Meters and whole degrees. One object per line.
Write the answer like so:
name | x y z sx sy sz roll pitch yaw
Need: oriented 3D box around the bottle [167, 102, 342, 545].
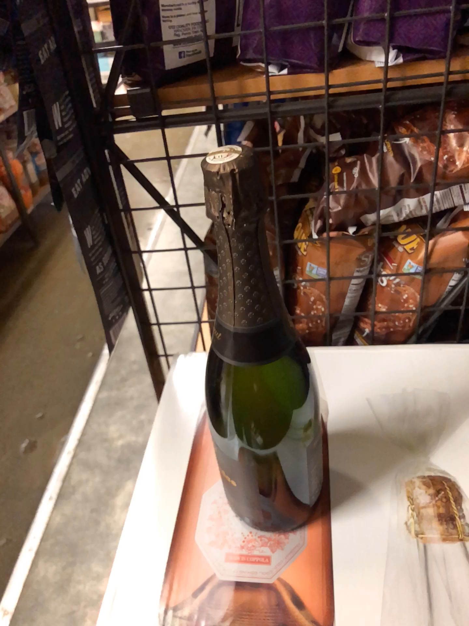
bottle | 0.026 0.033 0.379 0.084 0.326 0.090 -5 35 4
